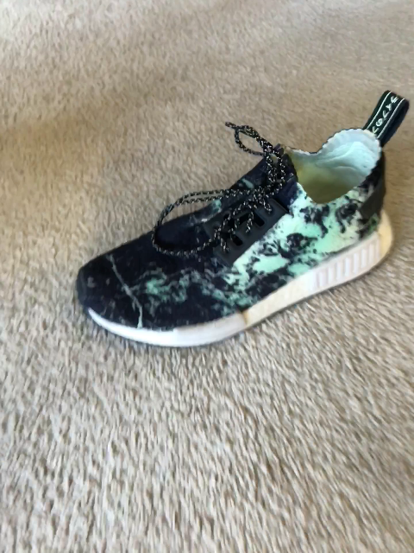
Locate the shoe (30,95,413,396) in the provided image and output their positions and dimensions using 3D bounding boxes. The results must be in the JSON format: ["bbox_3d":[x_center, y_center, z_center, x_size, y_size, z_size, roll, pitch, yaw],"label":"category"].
[{"bbox_3d":[0.027,-0.032,0.365,0.287,0.100,0.132,-18,54,-10],"label":"shoe"}]
